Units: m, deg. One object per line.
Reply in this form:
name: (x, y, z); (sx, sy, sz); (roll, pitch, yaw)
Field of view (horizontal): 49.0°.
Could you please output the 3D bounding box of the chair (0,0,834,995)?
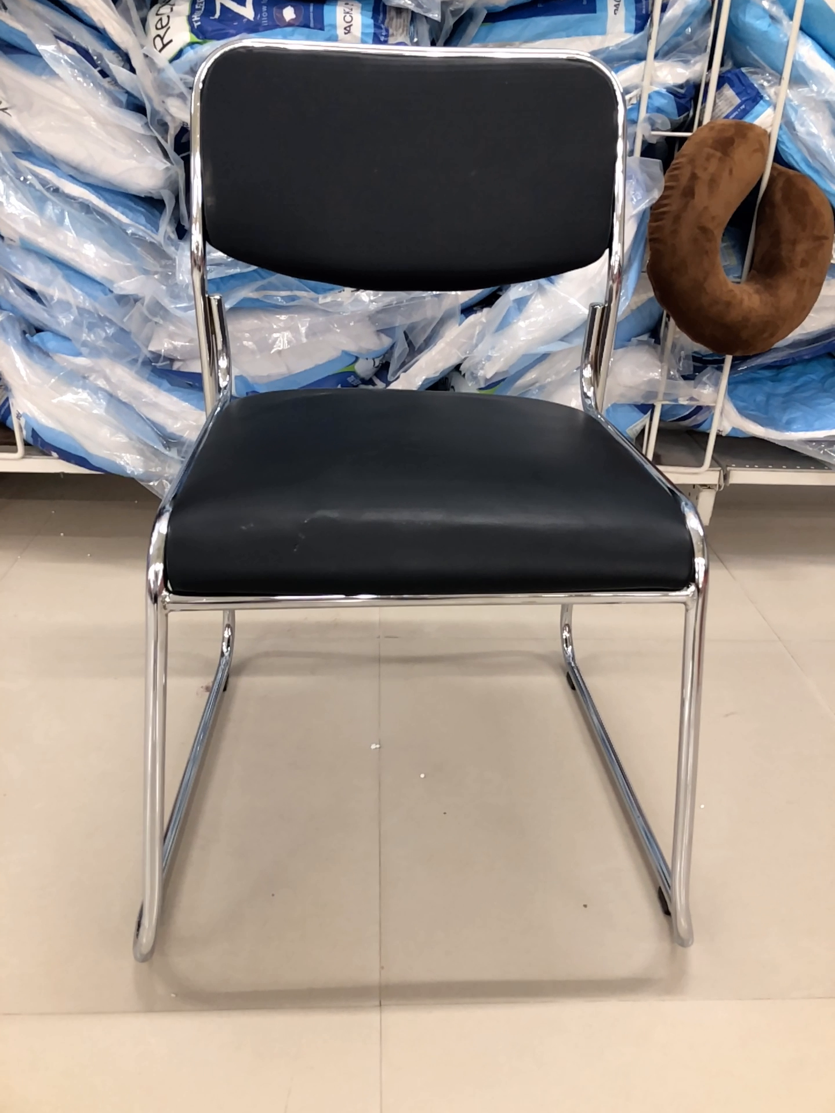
chair: (0.016, -0.121, 0.844); (0.570, 0.795, 0.563); (2, 26, -2)
